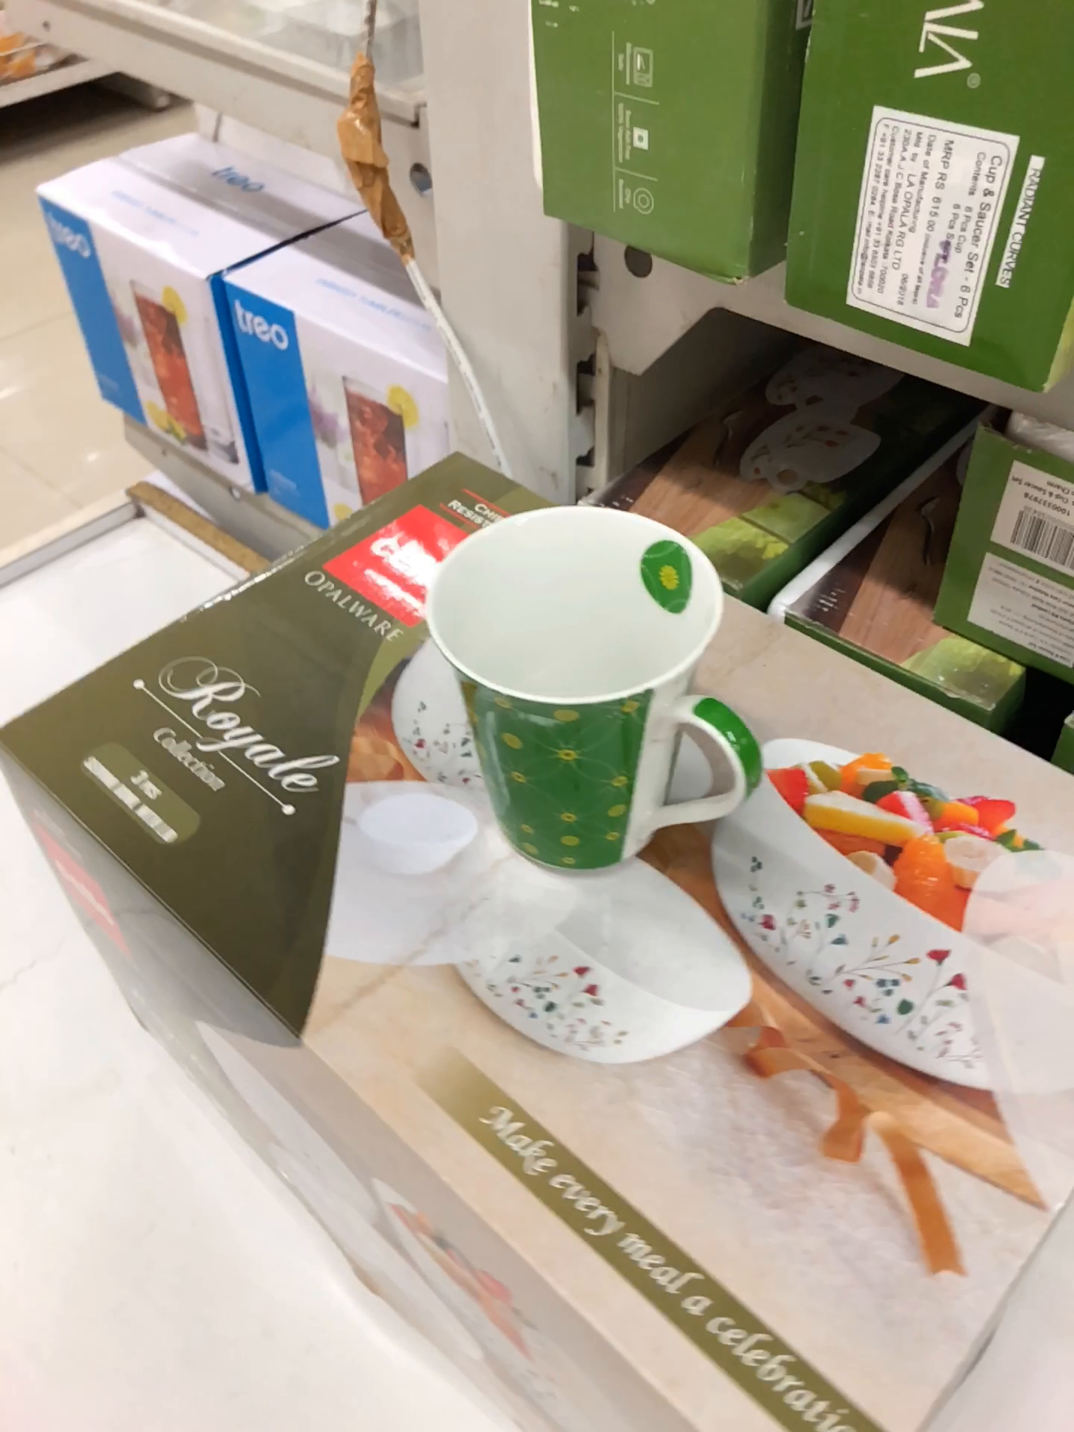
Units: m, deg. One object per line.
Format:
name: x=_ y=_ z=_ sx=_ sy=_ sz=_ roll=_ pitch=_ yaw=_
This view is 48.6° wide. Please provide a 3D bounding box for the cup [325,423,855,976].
cup: x=0.014 y=-0.009 z=0.351 sx=0.110 sy=0.089 sz=0.090 roll=34 pitch=55 yaw=30
